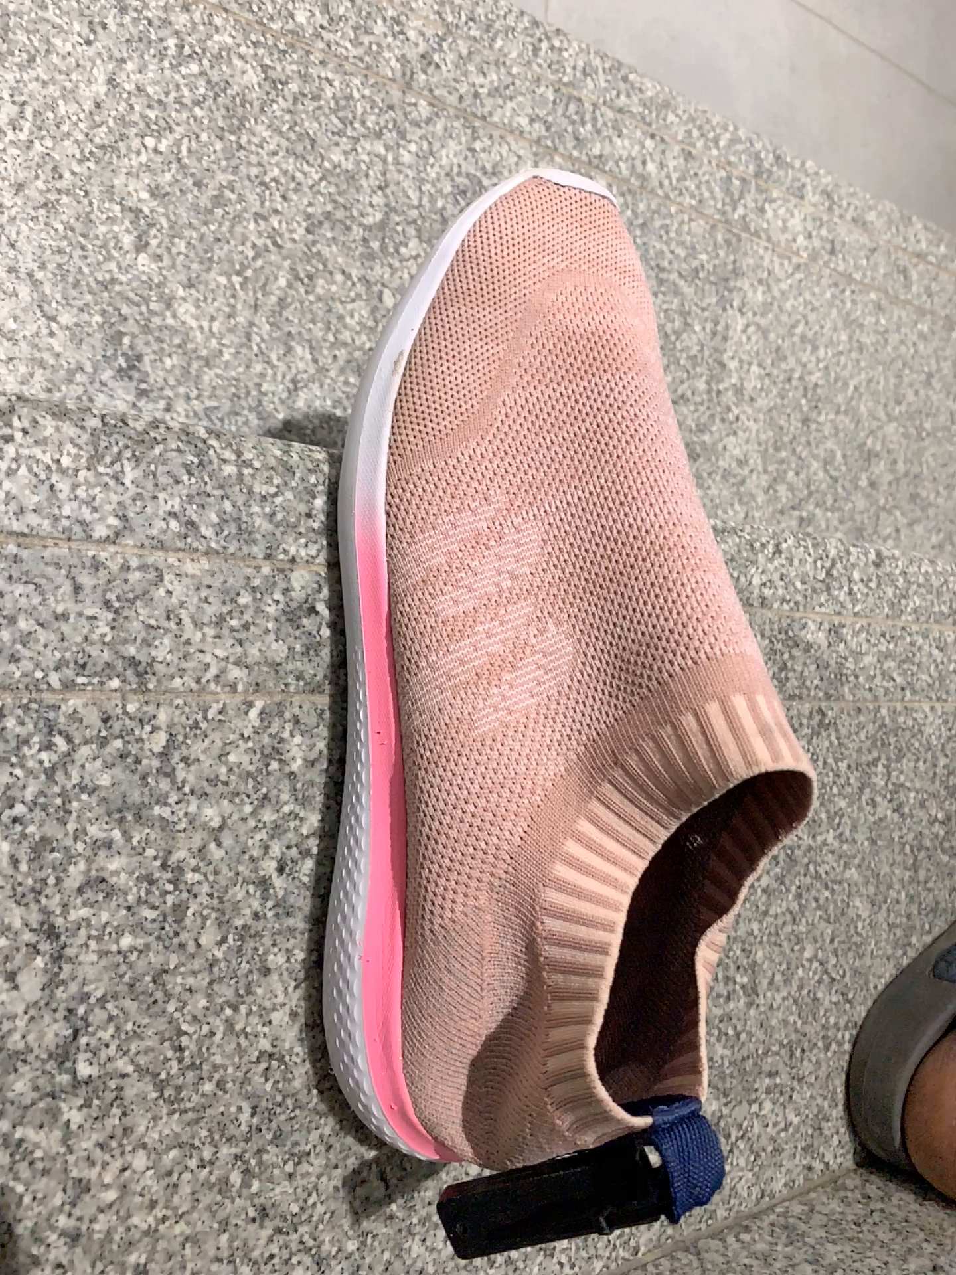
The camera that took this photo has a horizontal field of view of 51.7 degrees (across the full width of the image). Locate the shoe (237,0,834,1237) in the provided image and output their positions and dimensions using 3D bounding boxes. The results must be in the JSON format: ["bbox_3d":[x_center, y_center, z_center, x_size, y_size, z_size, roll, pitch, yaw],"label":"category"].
[{"bbox_3d":[0.016,-0.003,0.257,0.100,0.080,0.250,9,87,-35],"label":"shoe"}]
